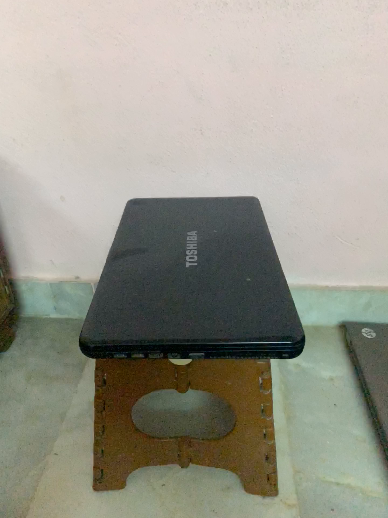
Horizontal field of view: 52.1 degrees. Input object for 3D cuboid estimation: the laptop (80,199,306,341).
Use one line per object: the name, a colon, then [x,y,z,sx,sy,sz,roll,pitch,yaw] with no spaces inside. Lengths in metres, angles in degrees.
laptop: [-0.002,-0.012,0.572,0.236,0.001,0.370,-1,32,1]
